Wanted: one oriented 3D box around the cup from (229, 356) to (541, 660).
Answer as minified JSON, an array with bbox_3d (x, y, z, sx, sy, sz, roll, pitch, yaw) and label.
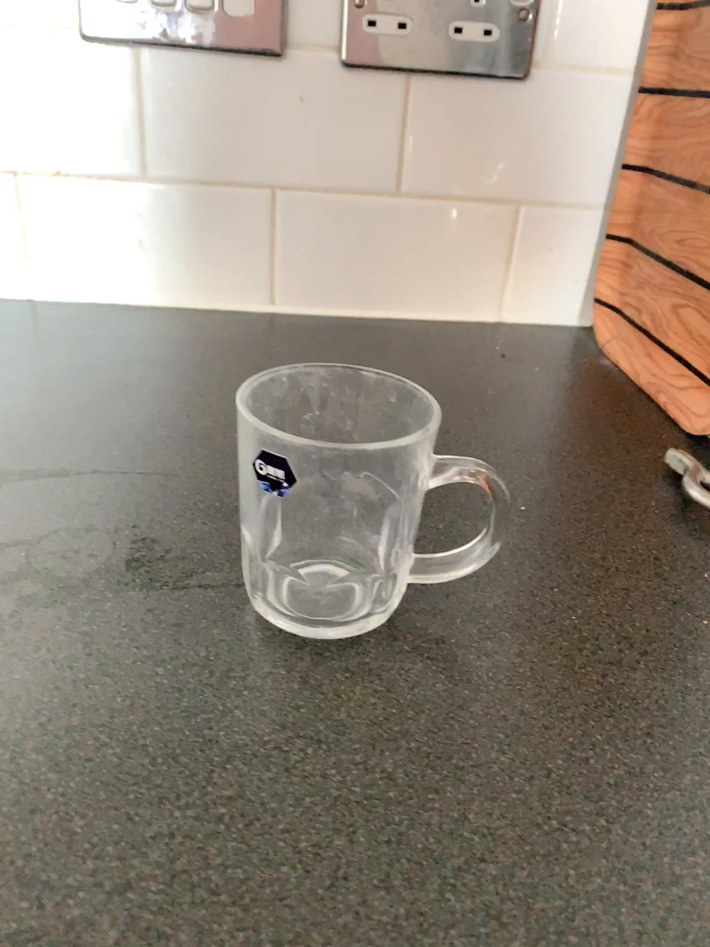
[{"bbox_3d":[0.003,0.010,0.287,0.100,0.090,0.071,-1,29,-11],"label":"cup"}]
